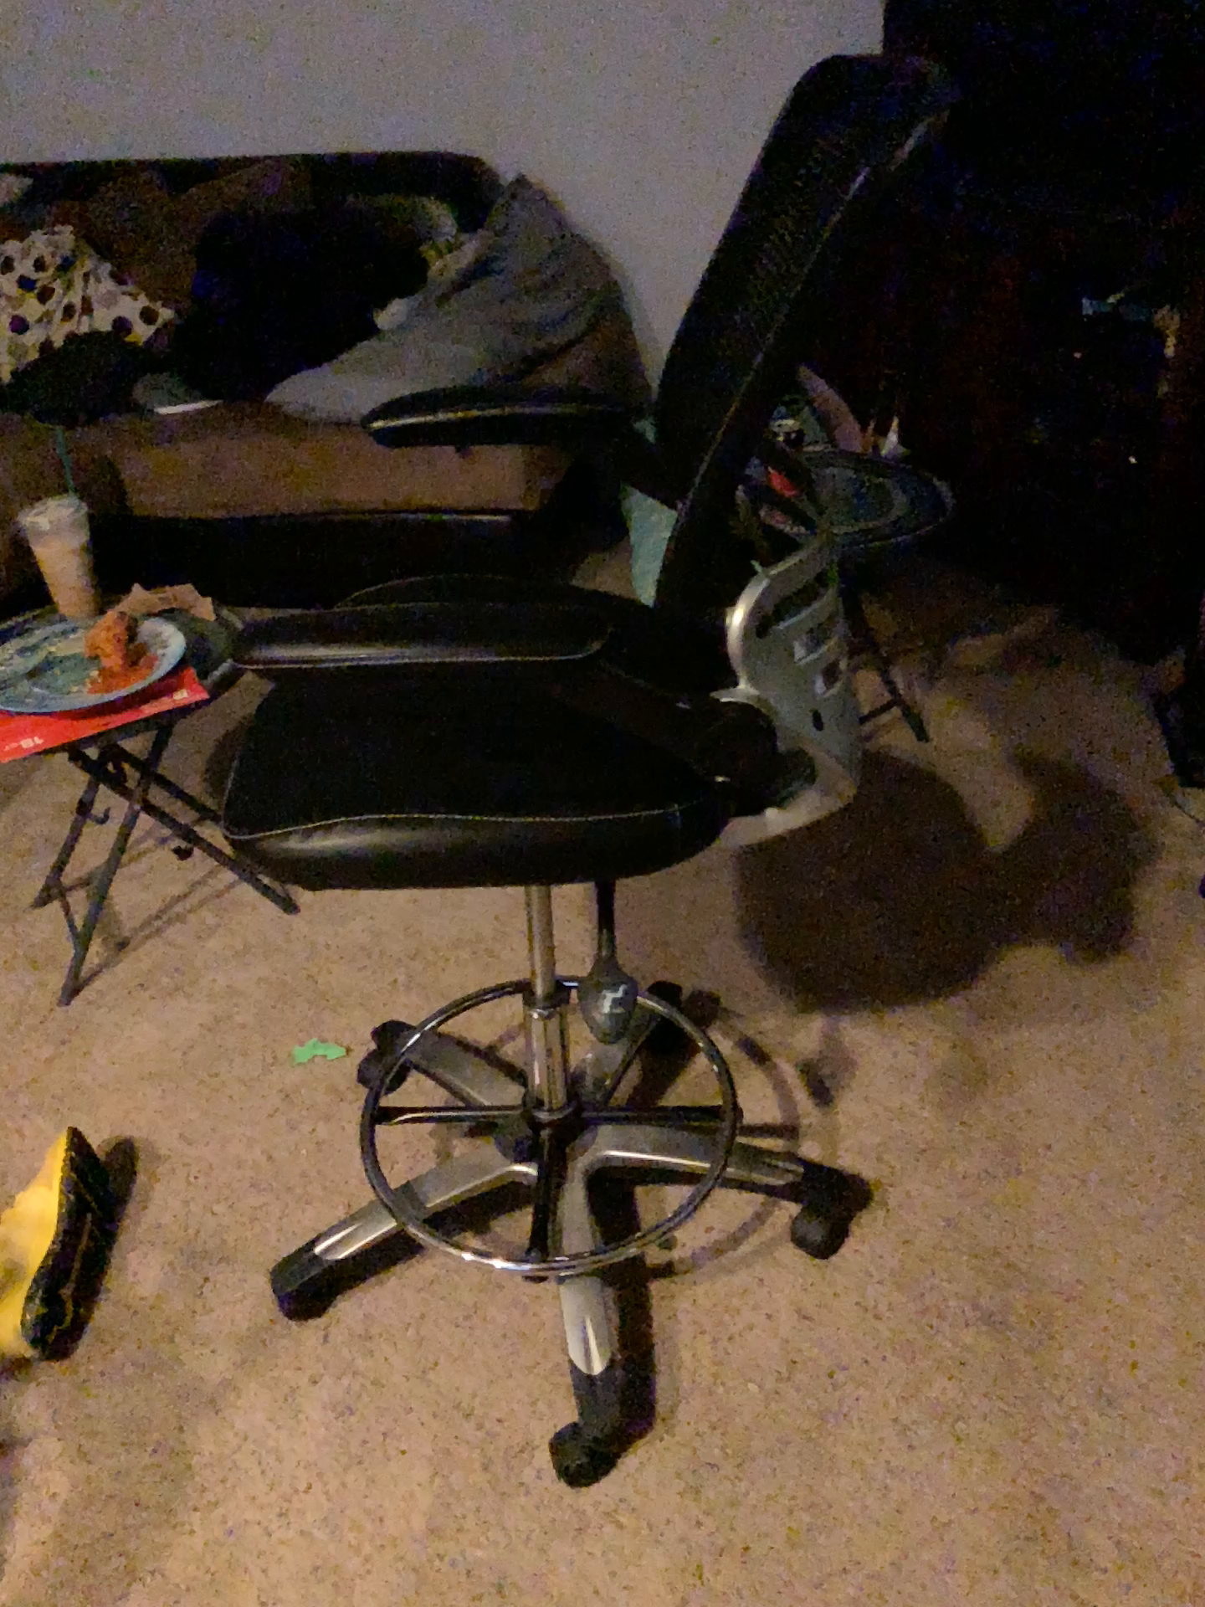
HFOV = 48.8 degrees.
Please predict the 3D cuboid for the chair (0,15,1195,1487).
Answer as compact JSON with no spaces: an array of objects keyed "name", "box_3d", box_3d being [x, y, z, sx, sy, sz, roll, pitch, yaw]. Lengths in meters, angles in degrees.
[{"name":"chair","box_3d":[-0.048,-0.044,1.249,0.700,1.120,0.780,-1,34,3]}]
